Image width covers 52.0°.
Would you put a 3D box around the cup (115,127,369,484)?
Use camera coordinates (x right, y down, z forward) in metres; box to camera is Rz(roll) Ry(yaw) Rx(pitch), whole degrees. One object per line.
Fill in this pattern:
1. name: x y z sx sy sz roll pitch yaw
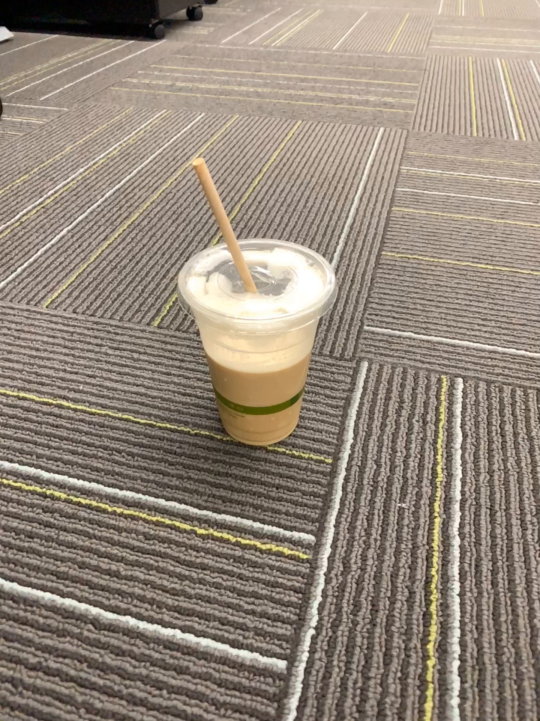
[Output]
1. cup: -0.013 -0.033 0.350 0.090 0.179 0.100 30 49 32
